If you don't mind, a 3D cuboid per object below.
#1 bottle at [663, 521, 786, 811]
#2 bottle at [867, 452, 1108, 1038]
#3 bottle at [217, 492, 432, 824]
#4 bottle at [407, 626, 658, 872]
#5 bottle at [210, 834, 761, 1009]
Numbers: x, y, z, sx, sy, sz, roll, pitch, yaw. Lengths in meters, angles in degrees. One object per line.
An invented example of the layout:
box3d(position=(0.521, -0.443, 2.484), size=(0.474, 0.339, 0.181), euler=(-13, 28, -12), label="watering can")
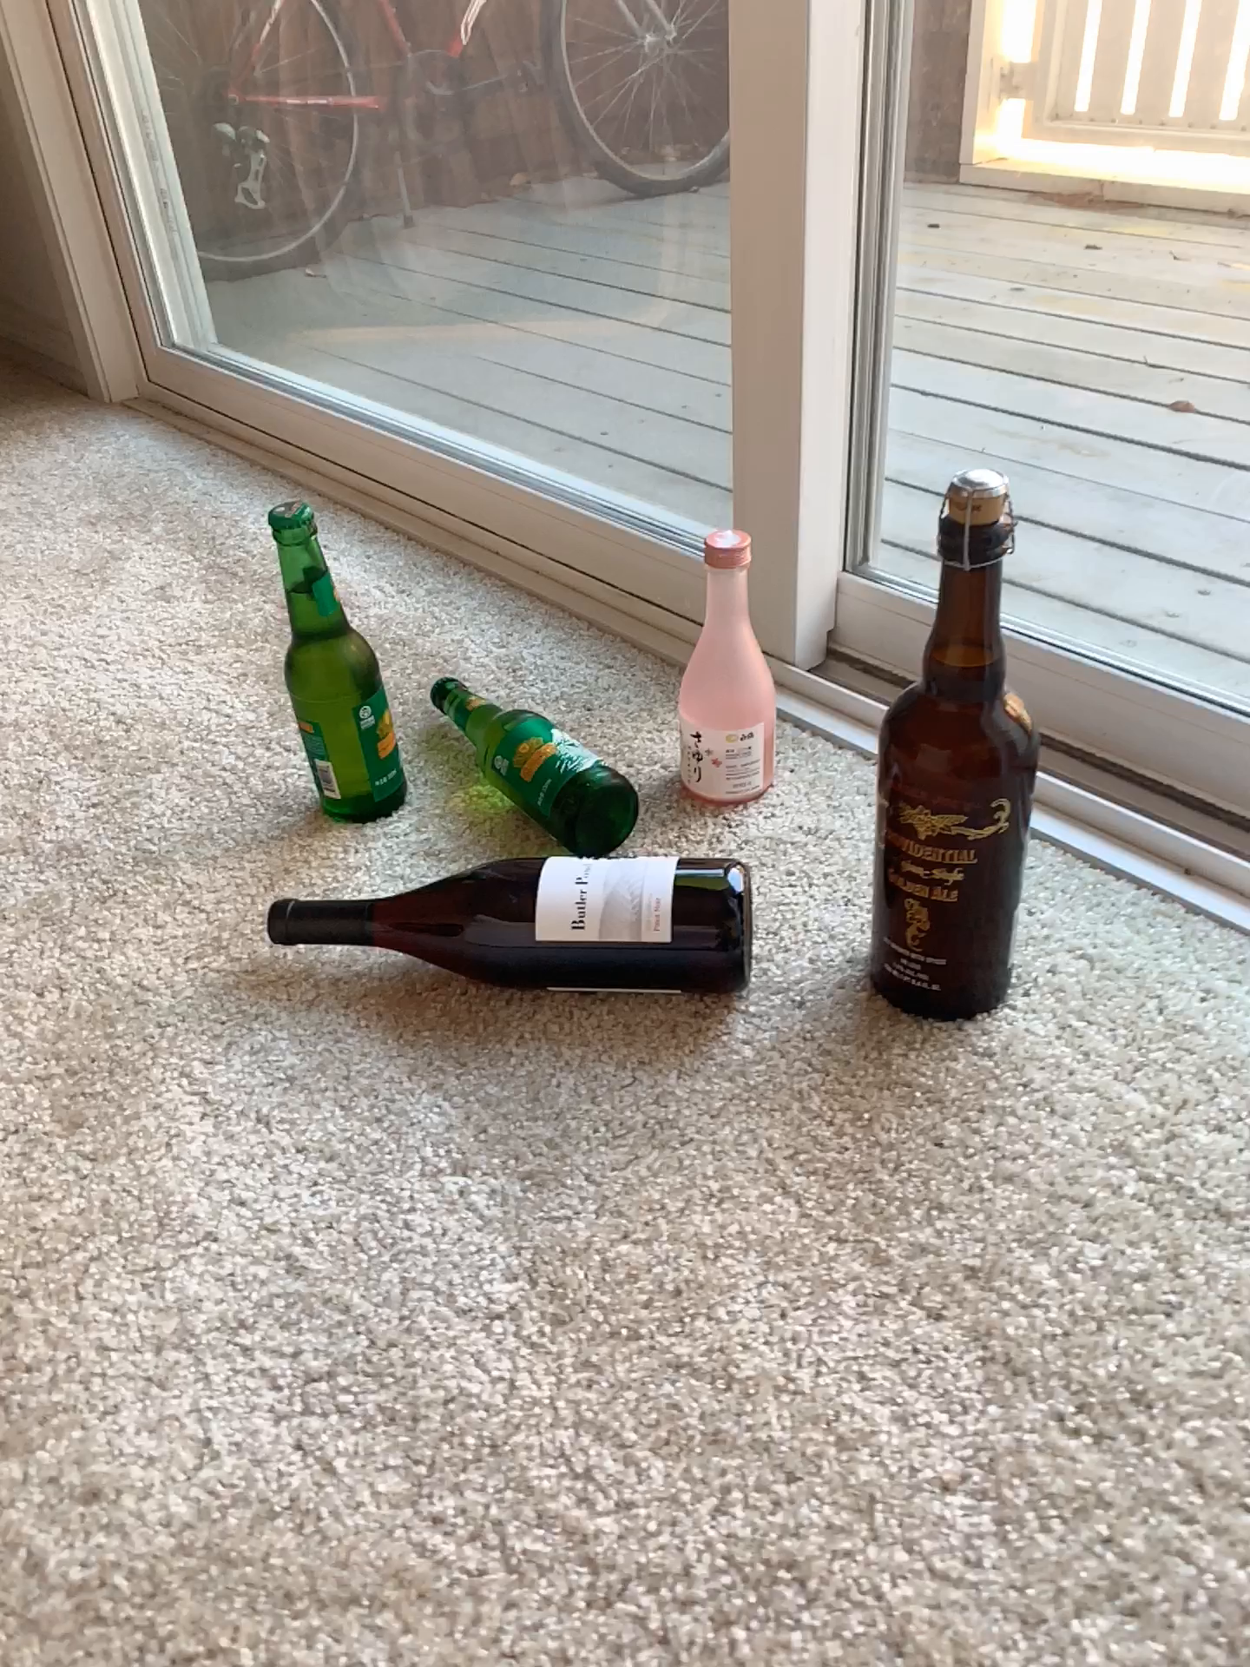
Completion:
box3d(position=(0.068, -0.108, 0.839), size=(0.070, 0.169, 0.080), euler=(2, 36, 8), label="bottle")
box3d(position=(0.172, -0.035, 0.648), size=(0.080, 0.288, 0.091), euler=(2, 36, 8), label="bottle")
box3d(position=(-0.190, -0.112, 0.838), size=(0.080, 0.199, 0.080), euler=(-3, 35, 2), label="bottle")
box3d(position=(-0.068, -0.065, 0.878), size=(0.060, 0.060, 0.231), euler=(-23, 40, -25), label="bottle")
box3d(position=(-0.071, 0.047, 0.709), size=(0.290, 0.060, 0.070), euler=(1, 36, 6), label="bottle")
